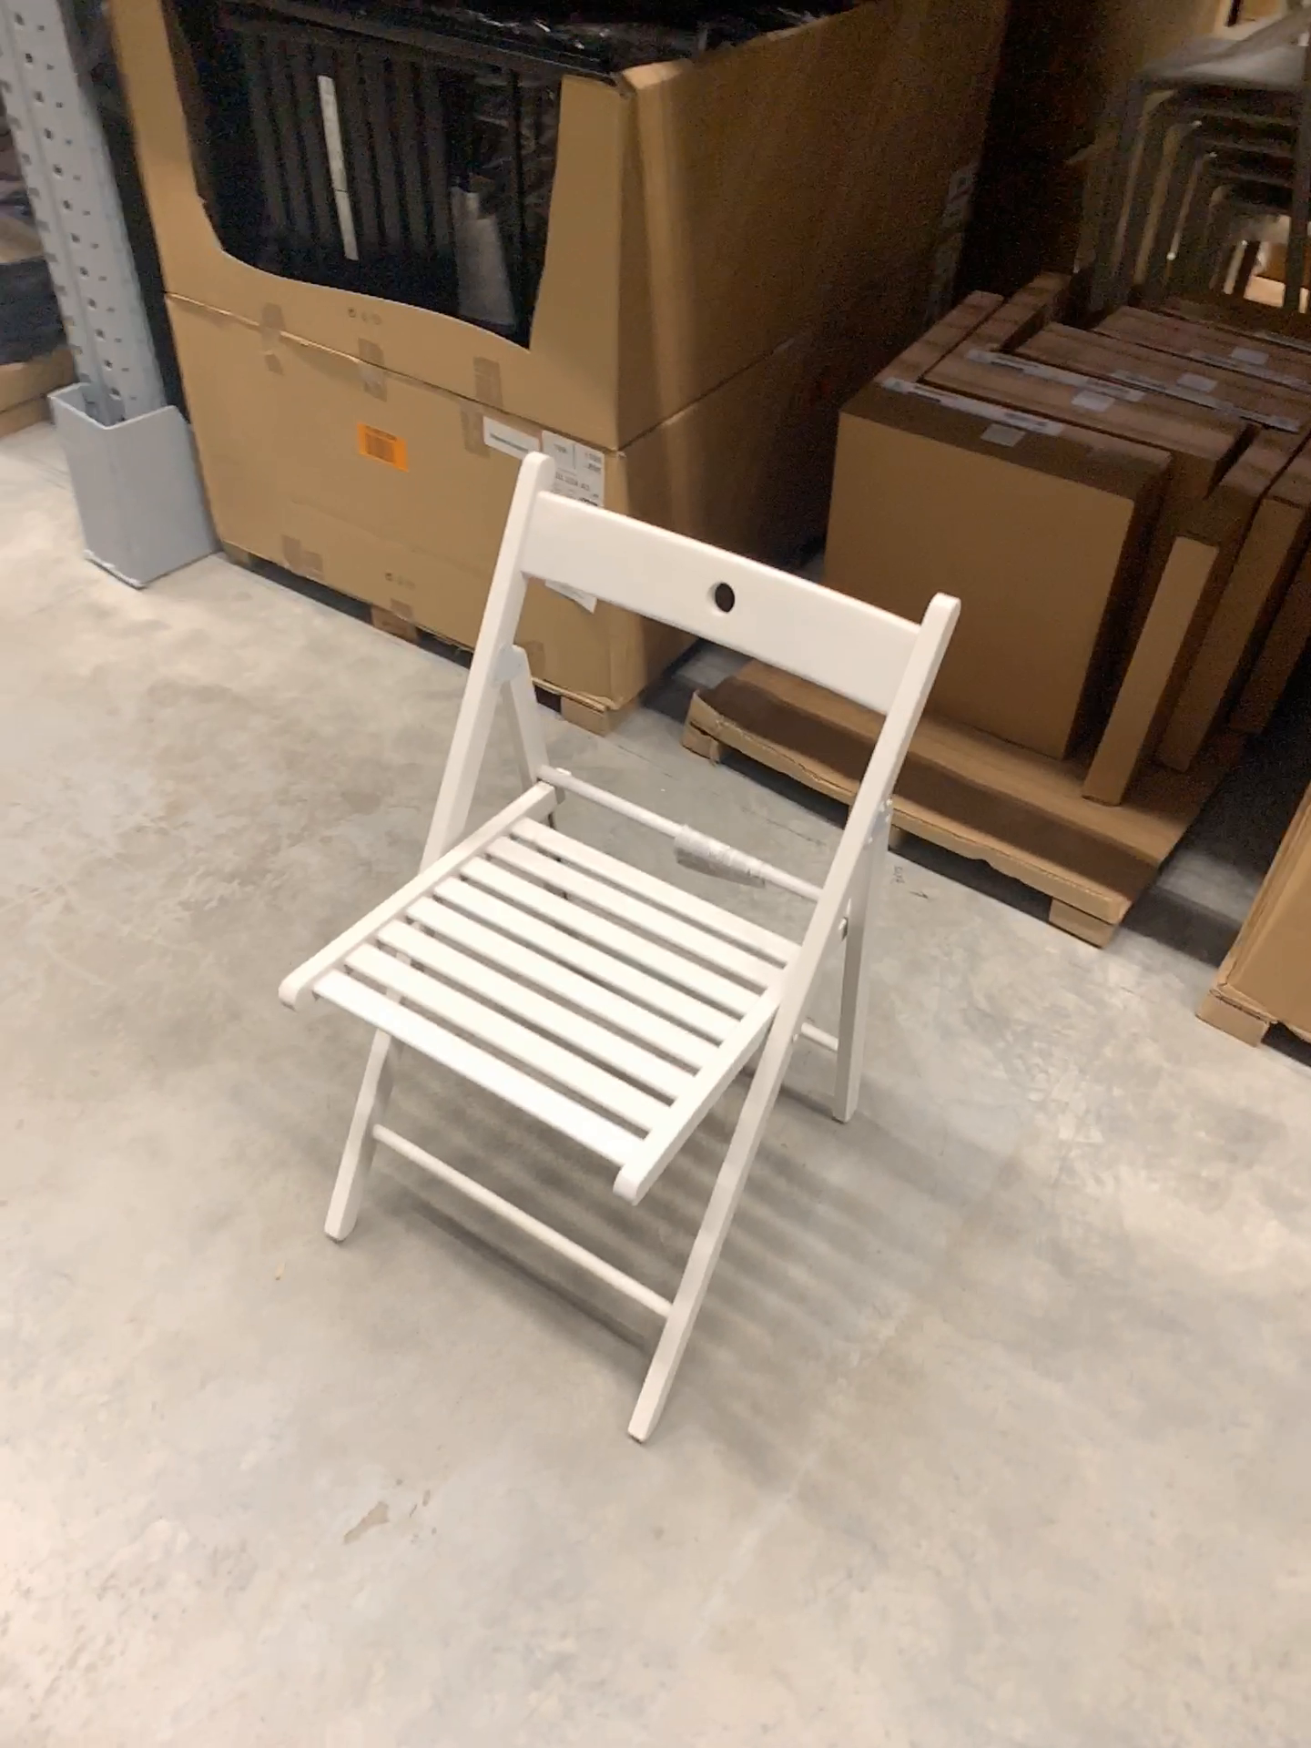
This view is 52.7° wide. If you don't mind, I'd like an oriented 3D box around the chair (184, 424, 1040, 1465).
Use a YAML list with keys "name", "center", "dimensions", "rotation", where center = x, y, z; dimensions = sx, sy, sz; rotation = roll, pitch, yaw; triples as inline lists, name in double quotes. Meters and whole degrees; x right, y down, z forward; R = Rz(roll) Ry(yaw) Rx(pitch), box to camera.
- name: "chair"
  center: [-0.022, 0.070, 1.205]
  dimensions: [0.431, 0.707, 0.471]
  rotation: [26, 48, 22]
